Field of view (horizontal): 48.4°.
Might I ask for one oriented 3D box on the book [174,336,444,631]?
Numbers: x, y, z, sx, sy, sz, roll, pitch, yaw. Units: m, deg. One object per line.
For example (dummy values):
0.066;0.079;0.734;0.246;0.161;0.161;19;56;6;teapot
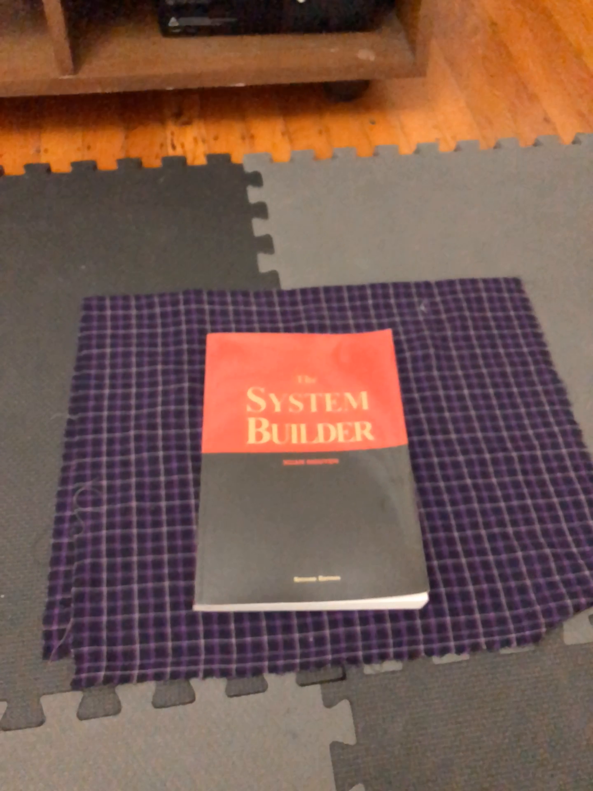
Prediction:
0.005;0.062;0.570;0.200;0.030;0.261;0;57;-3;book
